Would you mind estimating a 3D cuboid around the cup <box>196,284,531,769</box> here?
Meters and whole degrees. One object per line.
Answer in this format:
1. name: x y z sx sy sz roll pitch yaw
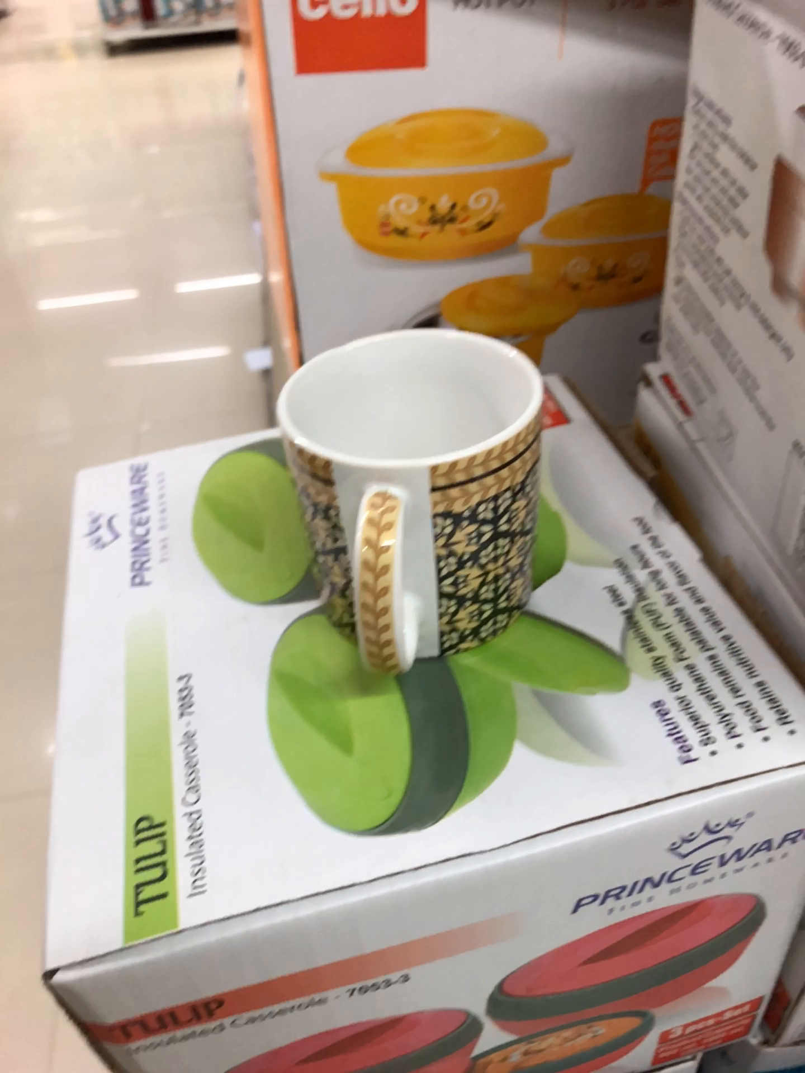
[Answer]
1. cup: -0.001 -0.008 0.264 0.070 0.089 0.111 2 39 8
